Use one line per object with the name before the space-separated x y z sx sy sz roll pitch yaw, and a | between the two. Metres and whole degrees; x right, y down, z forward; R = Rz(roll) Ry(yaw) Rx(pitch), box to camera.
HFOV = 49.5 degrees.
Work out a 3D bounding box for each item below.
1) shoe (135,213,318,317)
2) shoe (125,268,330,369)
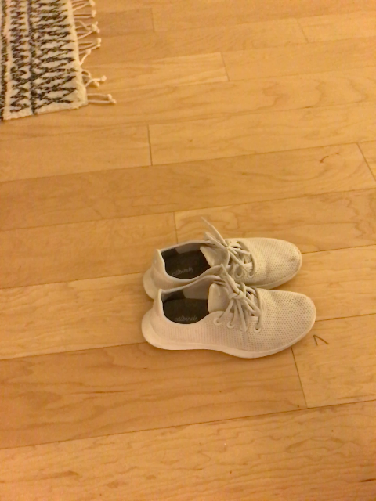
shoe | 0.055 0.023 0.669 0.270 0.070 0.121 -7 57 -1
shoe | 0.053 0.104 0.619 0.280 0.070 0.121 -3 57 1
